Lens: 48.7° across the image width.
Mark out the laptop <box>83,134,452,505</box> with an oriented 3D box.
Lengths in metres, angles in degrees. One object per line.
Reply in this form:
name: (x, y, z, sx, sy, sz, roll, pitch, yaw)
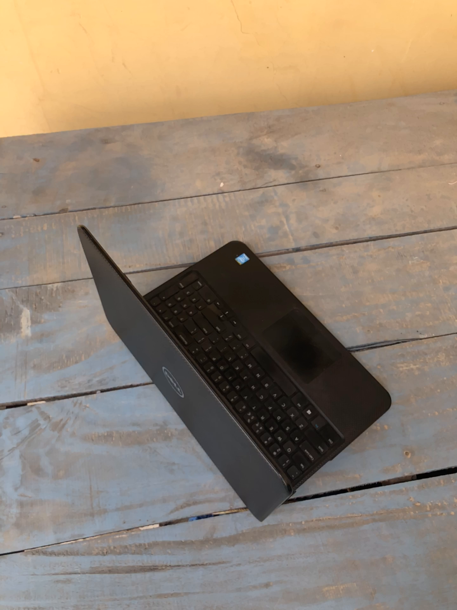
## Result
laptop: (0.029, 0.023, 0.643, 0.225, 0.234, 0.341, -34, 68, -17)
